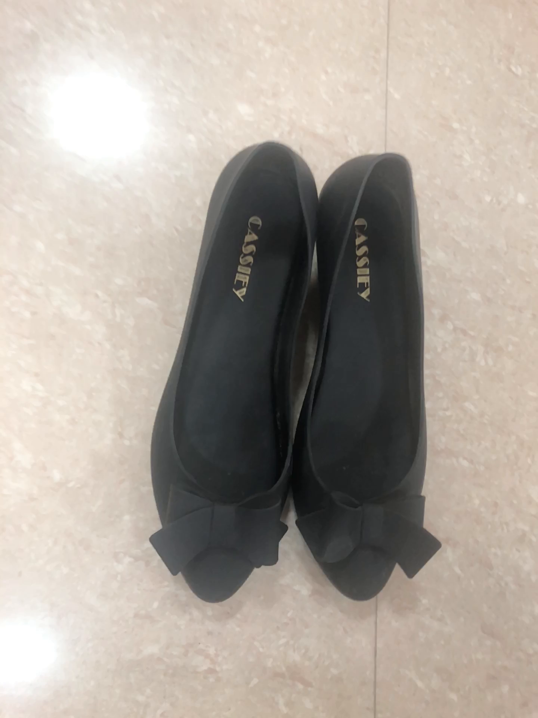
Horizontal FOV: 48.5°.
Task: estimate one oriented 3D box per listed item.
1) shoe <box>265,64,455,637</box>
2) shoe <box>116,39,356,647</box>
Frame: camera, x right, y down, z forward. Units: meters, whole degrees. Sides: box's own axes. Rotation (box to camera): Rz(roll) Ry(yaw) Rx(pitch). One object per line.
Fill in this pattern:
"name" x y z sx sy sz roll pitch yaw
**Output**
"shoe" 0.051 -0.006 0.371 0.090 0.090 0.310 2 84 -8
"shoe" -0.018 -0.010 0.356 0.090 0.090 0.310 7 83 -7
